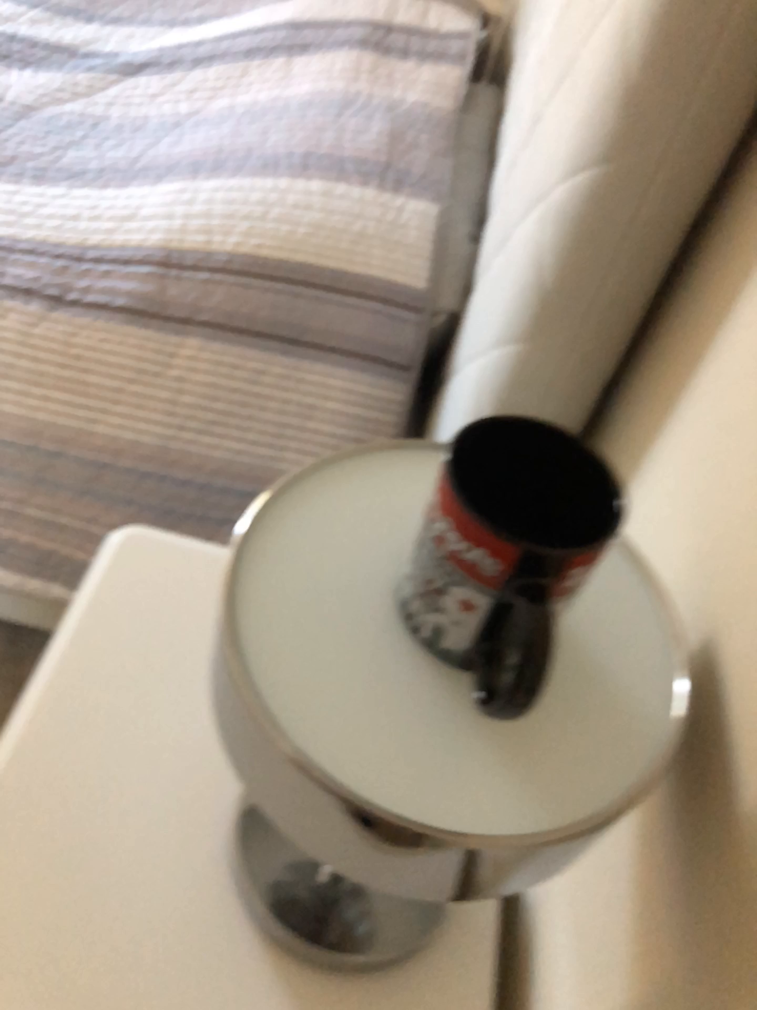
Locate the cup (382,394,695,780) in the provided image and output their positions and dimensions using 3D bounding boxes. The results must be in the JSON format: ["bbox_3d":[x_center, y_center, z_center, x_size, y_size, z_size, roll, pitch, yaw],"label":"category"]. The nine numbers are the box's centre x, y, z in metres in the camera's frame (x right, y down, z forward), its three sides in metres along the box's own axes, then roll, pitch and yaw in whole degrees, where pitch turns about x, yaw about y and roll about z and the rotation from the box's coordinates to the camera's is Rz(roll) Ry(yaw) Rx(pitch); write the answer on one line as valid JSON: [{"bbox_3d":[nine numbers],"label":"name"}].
[{"bbox_3d":[0.059,0.037,0.384,0.090,0.100,0.130,7,47,-10],"label":"cup"}]
